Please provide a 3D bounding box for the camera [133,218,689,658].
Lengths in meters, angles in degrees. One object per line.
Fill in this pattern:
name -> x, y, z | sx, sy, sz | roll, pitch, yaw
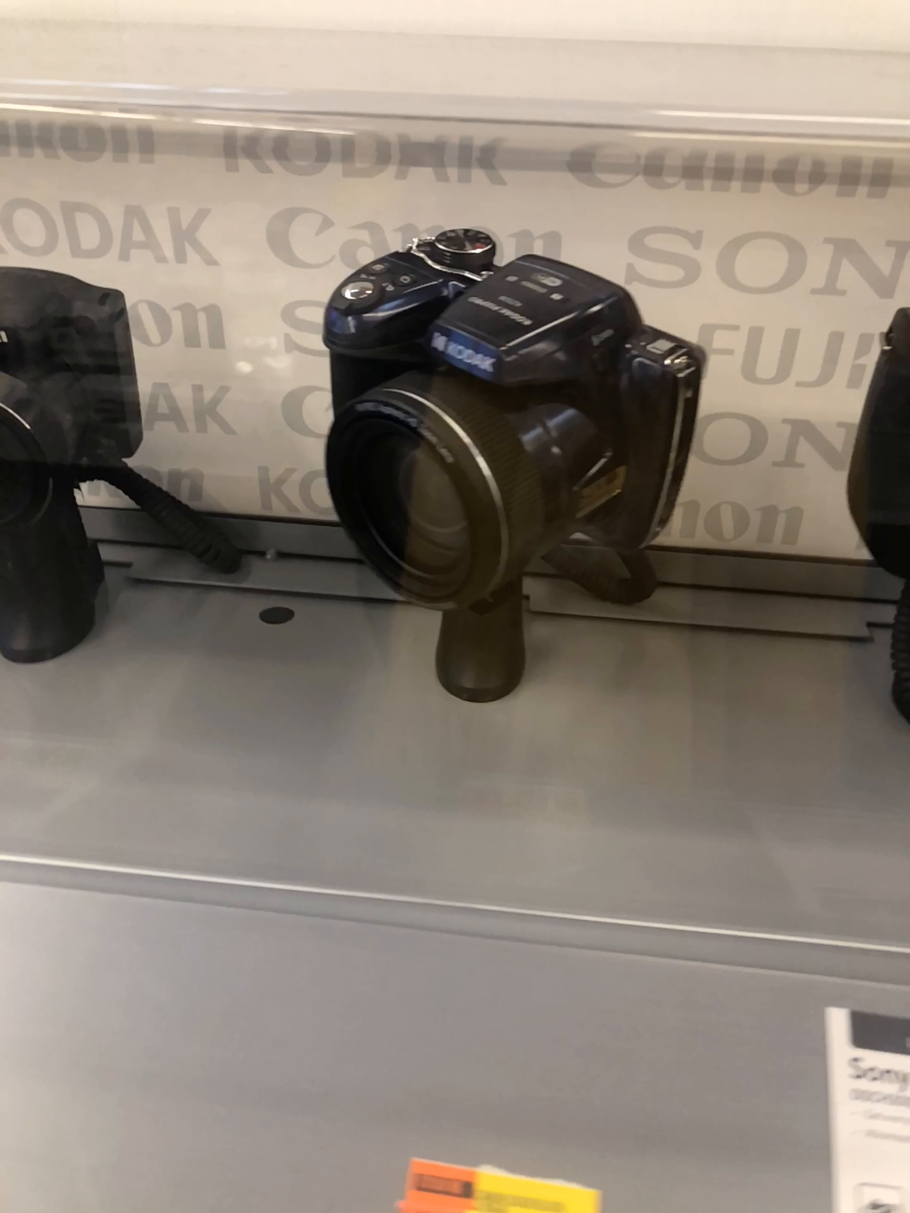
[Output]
camera -> -0.015, -0.066, 0.329 | 0.130, 0.080, 0.110 | 27, 39, 31
